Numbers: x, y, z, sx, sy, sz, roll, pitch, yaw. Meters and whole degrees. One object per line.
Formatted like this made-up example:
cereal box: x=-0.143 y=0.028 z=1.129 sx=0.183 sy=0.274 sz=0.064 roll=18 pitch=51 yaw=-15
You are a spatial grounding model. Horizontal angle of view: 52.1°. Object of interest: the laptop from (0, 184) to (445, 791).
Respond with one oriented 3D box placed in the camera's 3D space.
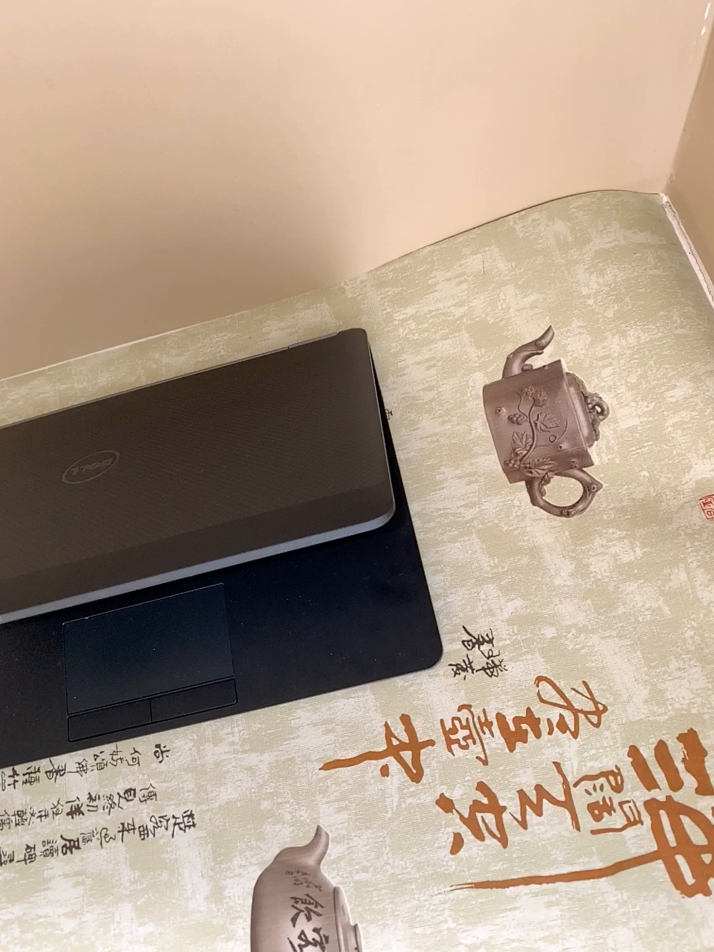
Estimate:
laptop: x=-0.136 y=0.018 z=0.383 sx=0.308 sy=0.136 sz=0.212 roll=-15 pitch=66 yaw=6
